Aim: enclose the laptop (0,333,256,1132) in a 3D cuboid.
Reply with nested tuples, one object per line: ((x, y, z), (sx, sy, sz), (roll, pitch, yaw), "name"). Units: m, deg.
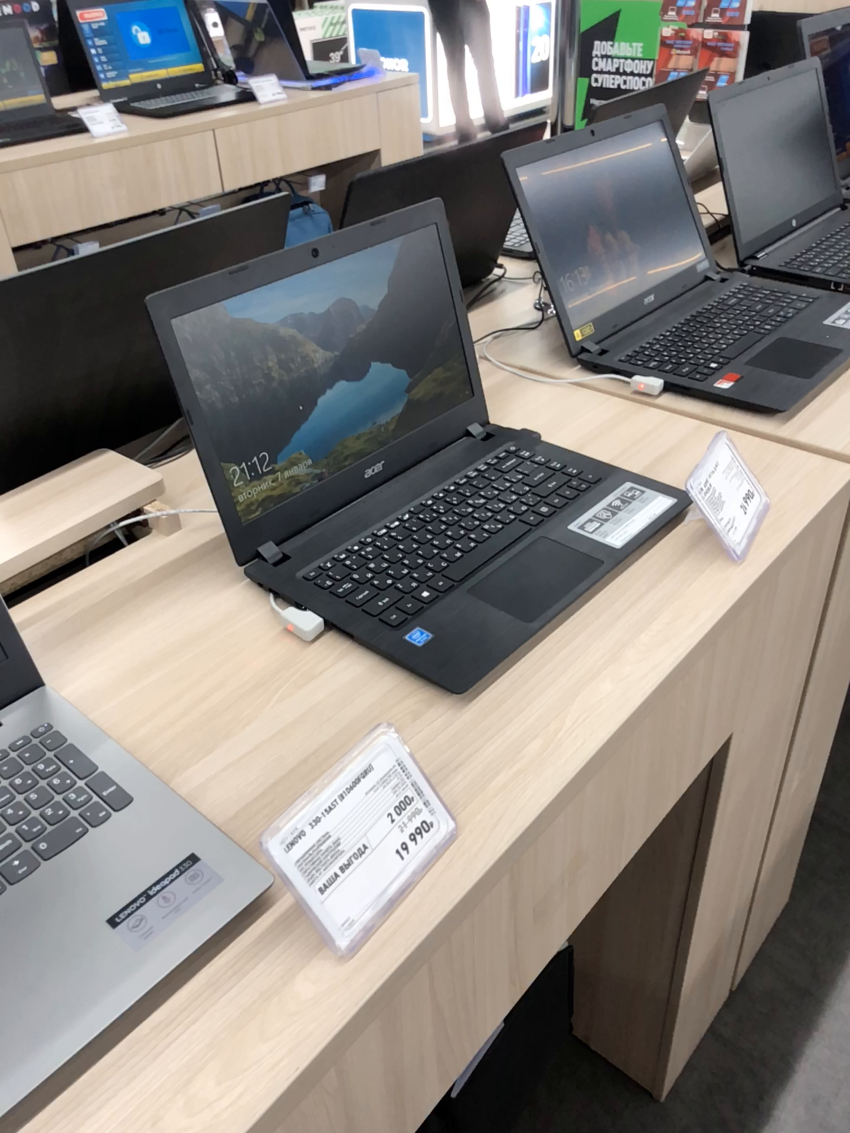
((-0.337, 0.100, 0.449), (0.338, 0.236, 0.363), (26, 44, 35), "laptop")

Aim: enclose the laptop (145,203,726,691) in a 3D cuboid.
((0.020, -0.134, 0.788), (0.302, 0.223, 0.343), (25, 43, 34), "laptop")

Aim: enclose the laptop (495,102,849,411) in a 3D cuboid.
((0.355, -0.406, 1.146), (0.376, 0.216, 0.380), (25, 43, 33), "laptop")
